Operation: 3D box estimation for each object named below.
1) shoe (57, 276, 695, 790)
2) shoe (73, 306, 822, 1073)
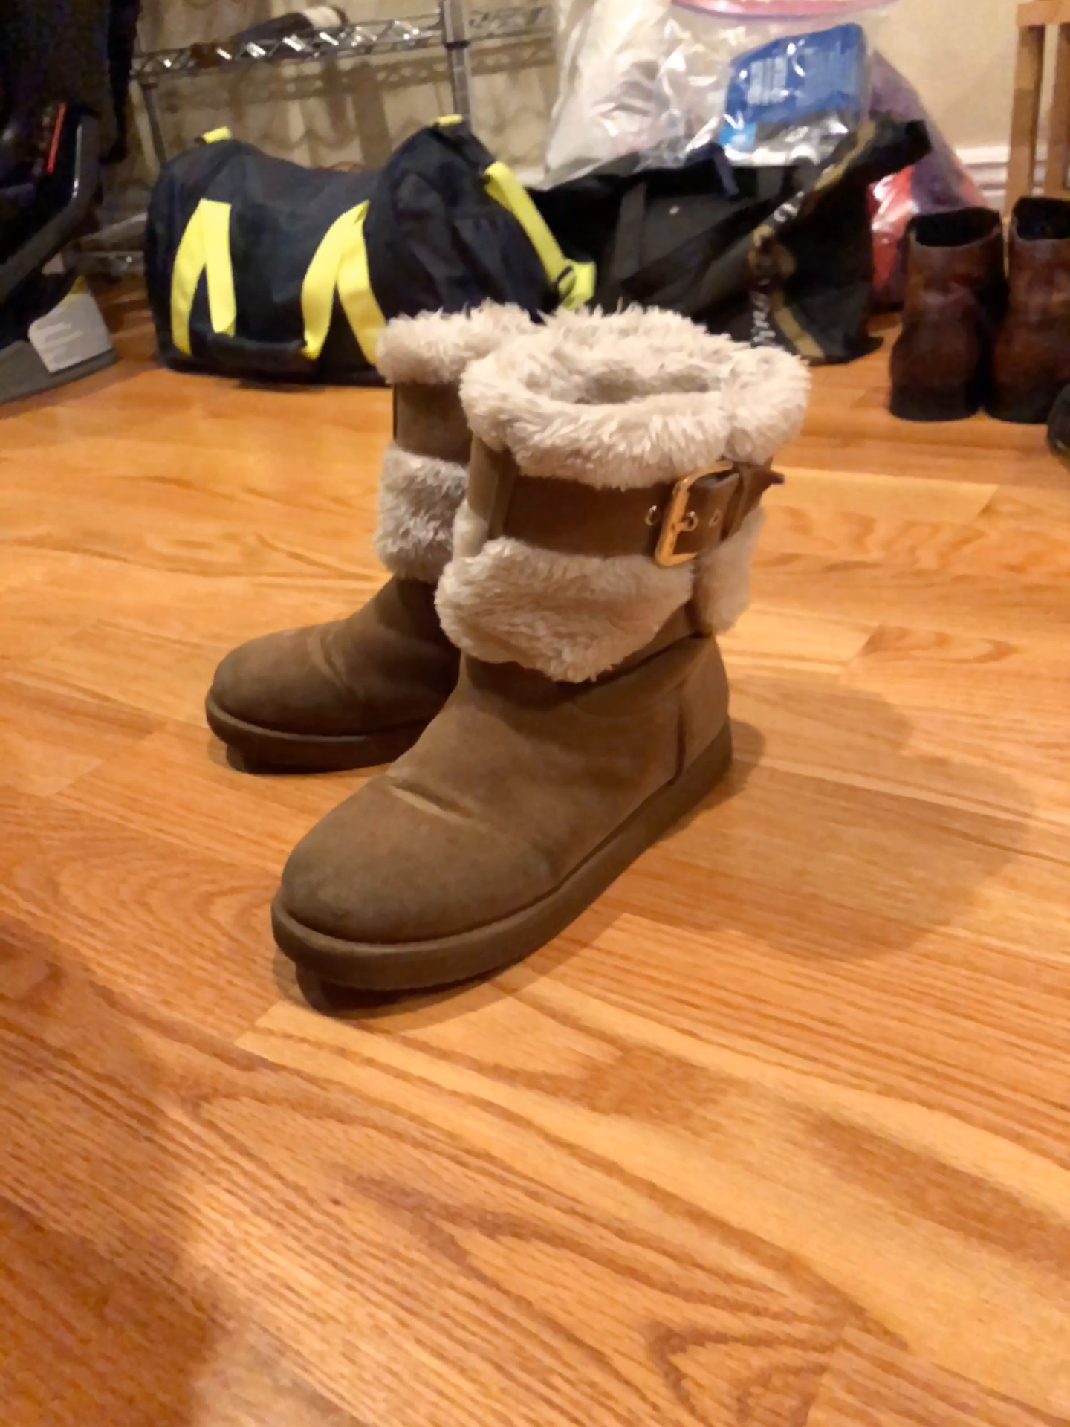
[{"bbox_3d":[-0.062,-0.088,0.572,0.254,0.193,0.107,-7,28,-1],"label":"shoe"},{"bbox_3d":[-0.009,-0.031,0.462,0.255,0.193,0.113,-29,36,-36],"label":"shoe"}]
